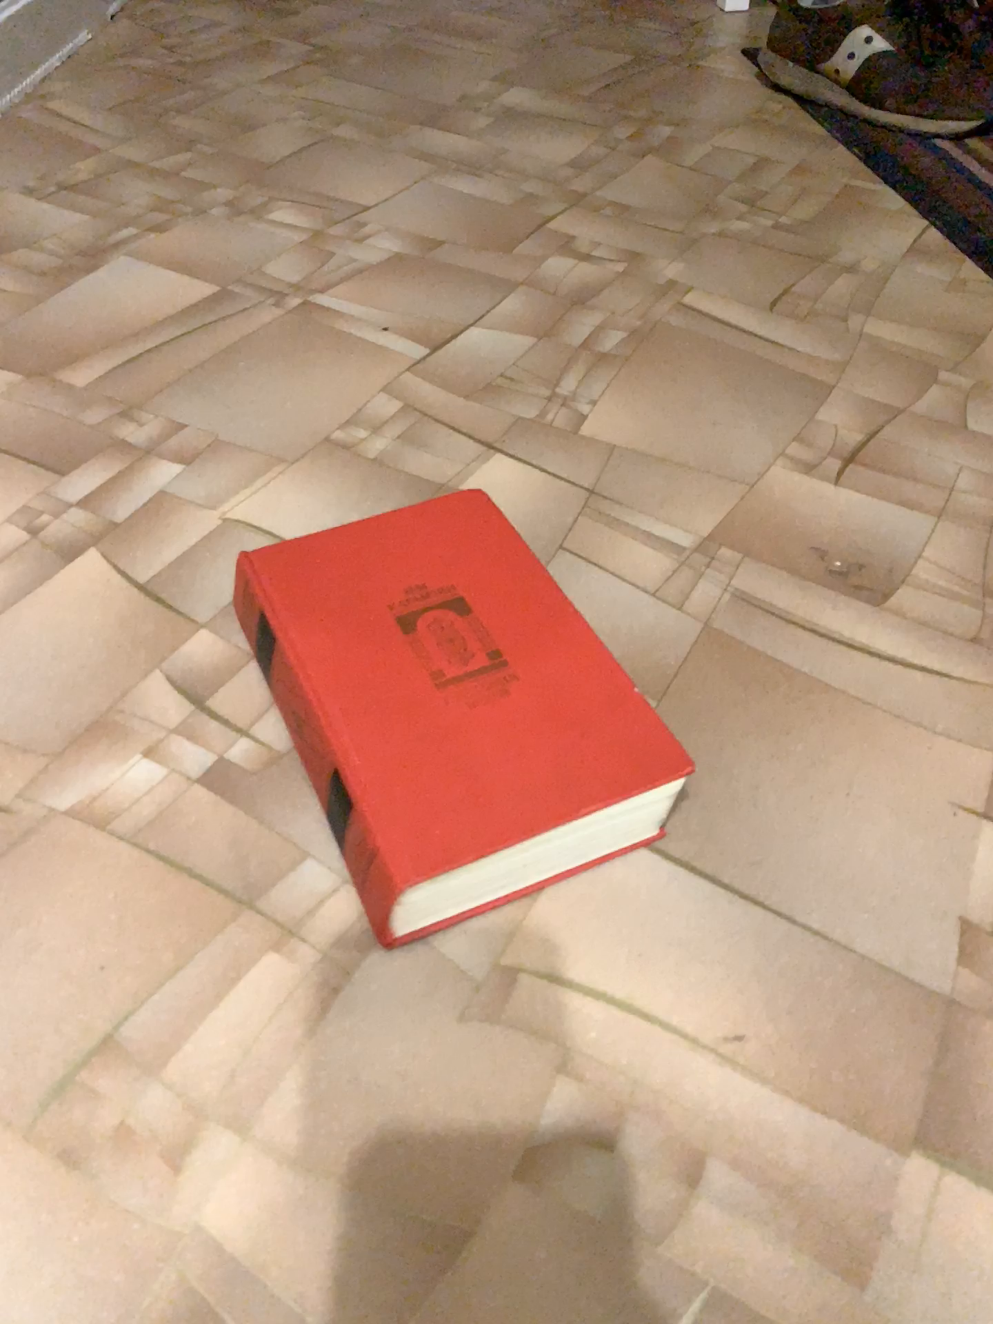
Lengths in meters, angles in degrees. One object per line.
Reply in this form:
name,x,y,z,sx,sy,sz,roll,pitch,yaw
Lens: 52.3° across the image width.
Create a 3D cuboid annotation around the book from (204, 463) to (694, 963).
book,-0.030,0.007,0.446,0.140,0.050,0.201,-20,51,-16
